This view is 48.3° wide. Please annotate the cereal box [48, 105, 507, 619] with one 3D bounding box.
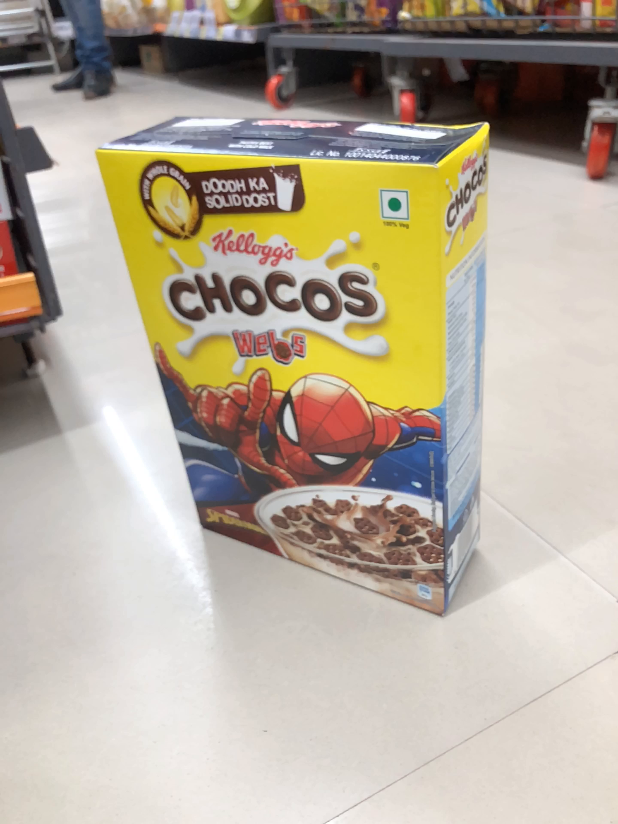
[{"bbox_3d":[-0.007,-0.030,0.364,0.190,0.229,0.080,14,39,29],"label":"cereal box"}]
